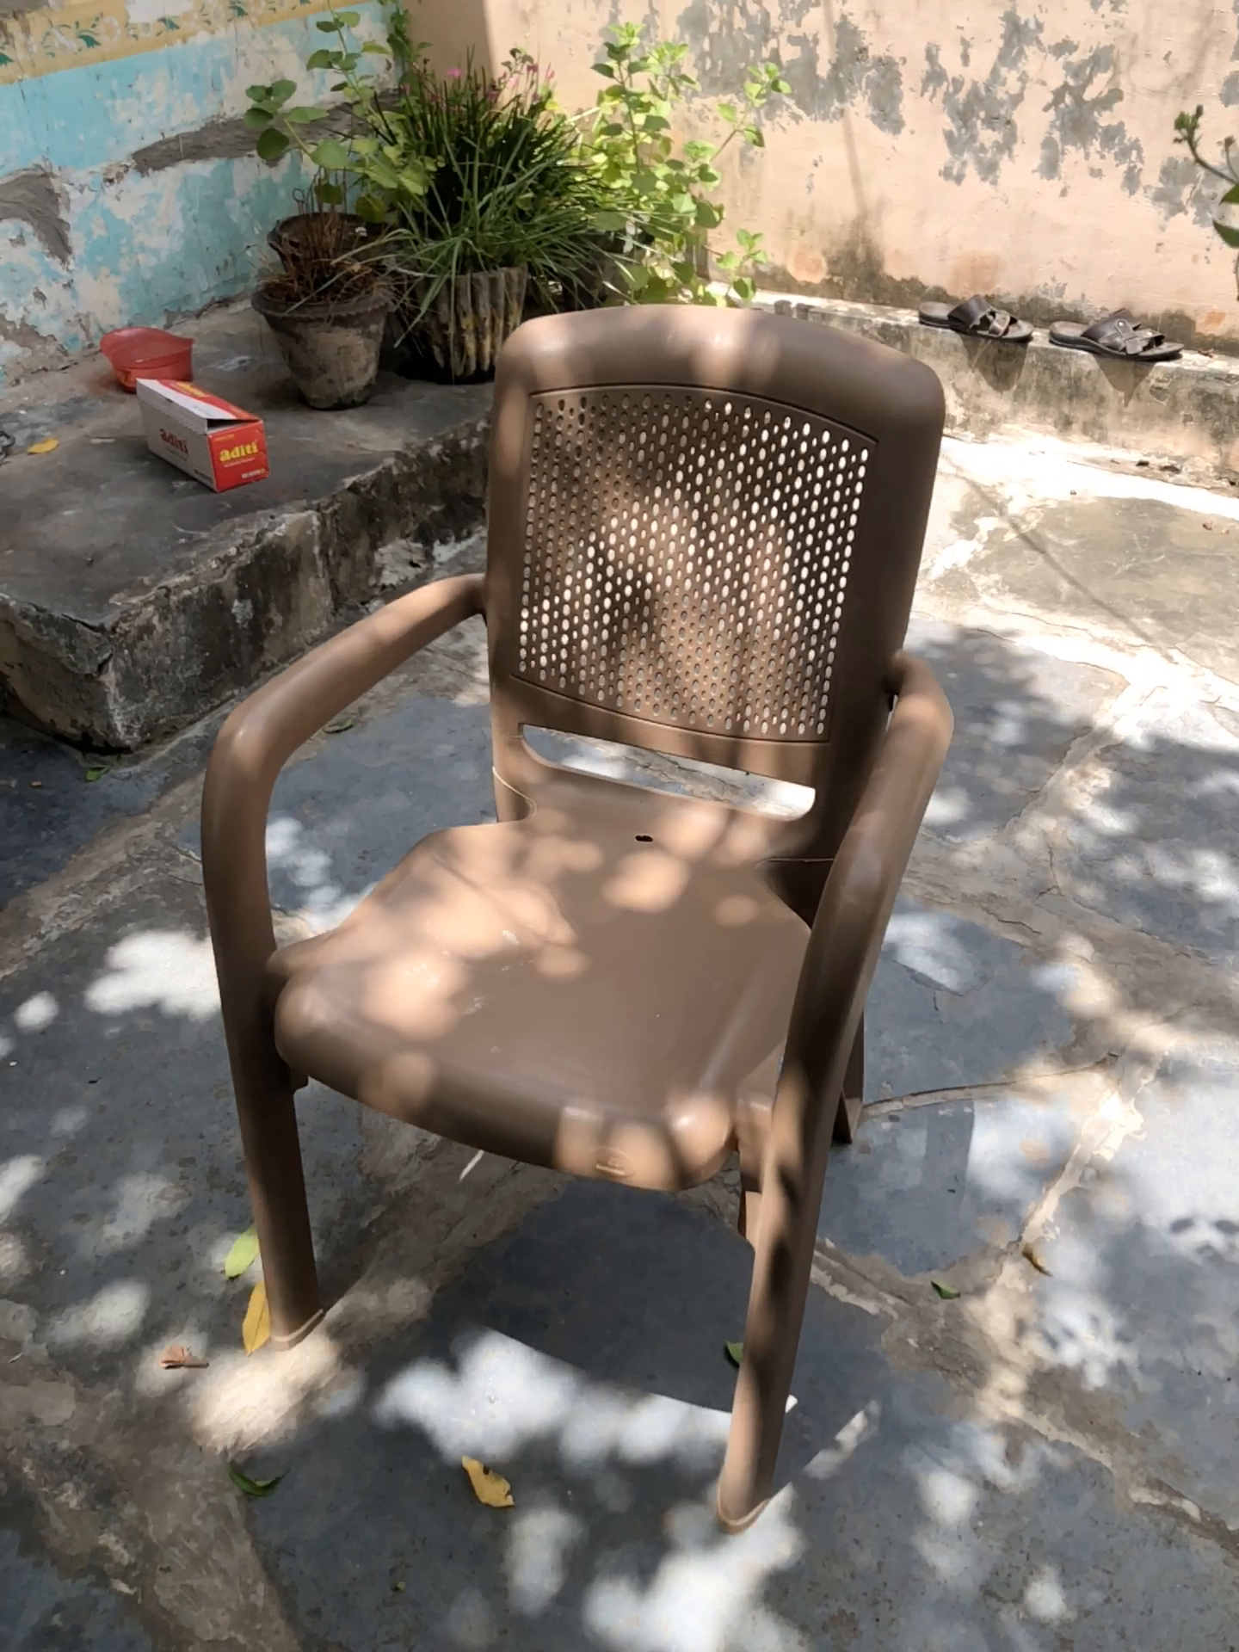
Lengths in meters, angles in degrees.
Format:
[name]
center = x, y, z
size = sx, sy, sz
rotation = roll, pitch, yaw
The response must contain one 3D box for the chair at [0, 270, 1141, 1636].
[chair]
center = 0.000, 0.057, 1.201
size = 0.630, 0.826, 0.684
rotation = 15, 40, 22
